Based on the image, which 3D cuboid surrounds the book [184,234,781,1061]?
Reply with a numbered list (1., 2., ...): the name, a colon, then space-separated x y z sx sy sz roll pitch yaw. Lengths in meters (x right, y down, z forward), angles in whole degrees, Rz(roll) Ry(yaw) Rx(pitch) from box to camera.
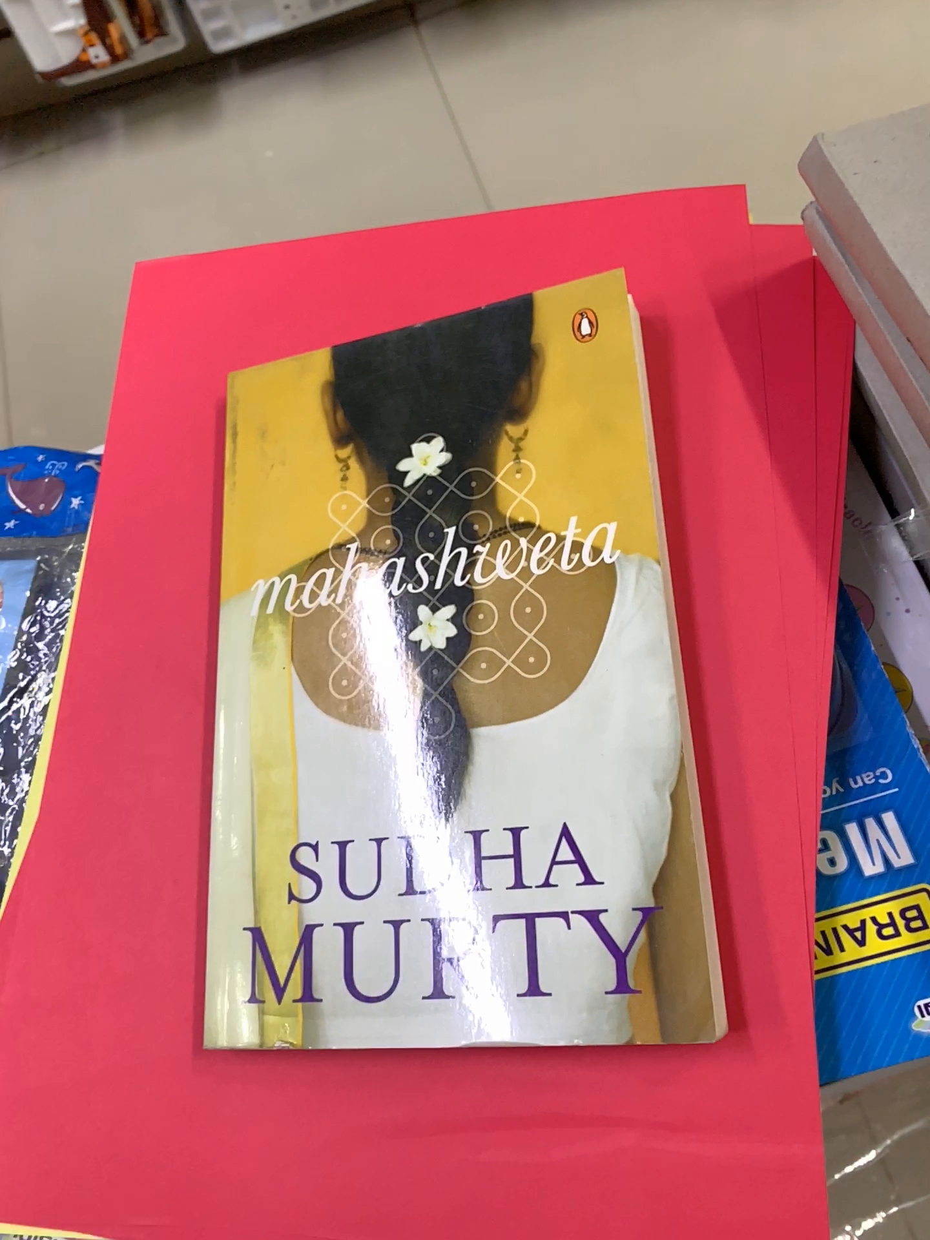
1. book: -0.005 0.006 0.256 0.140 0.020 0.201 -9 71 18
